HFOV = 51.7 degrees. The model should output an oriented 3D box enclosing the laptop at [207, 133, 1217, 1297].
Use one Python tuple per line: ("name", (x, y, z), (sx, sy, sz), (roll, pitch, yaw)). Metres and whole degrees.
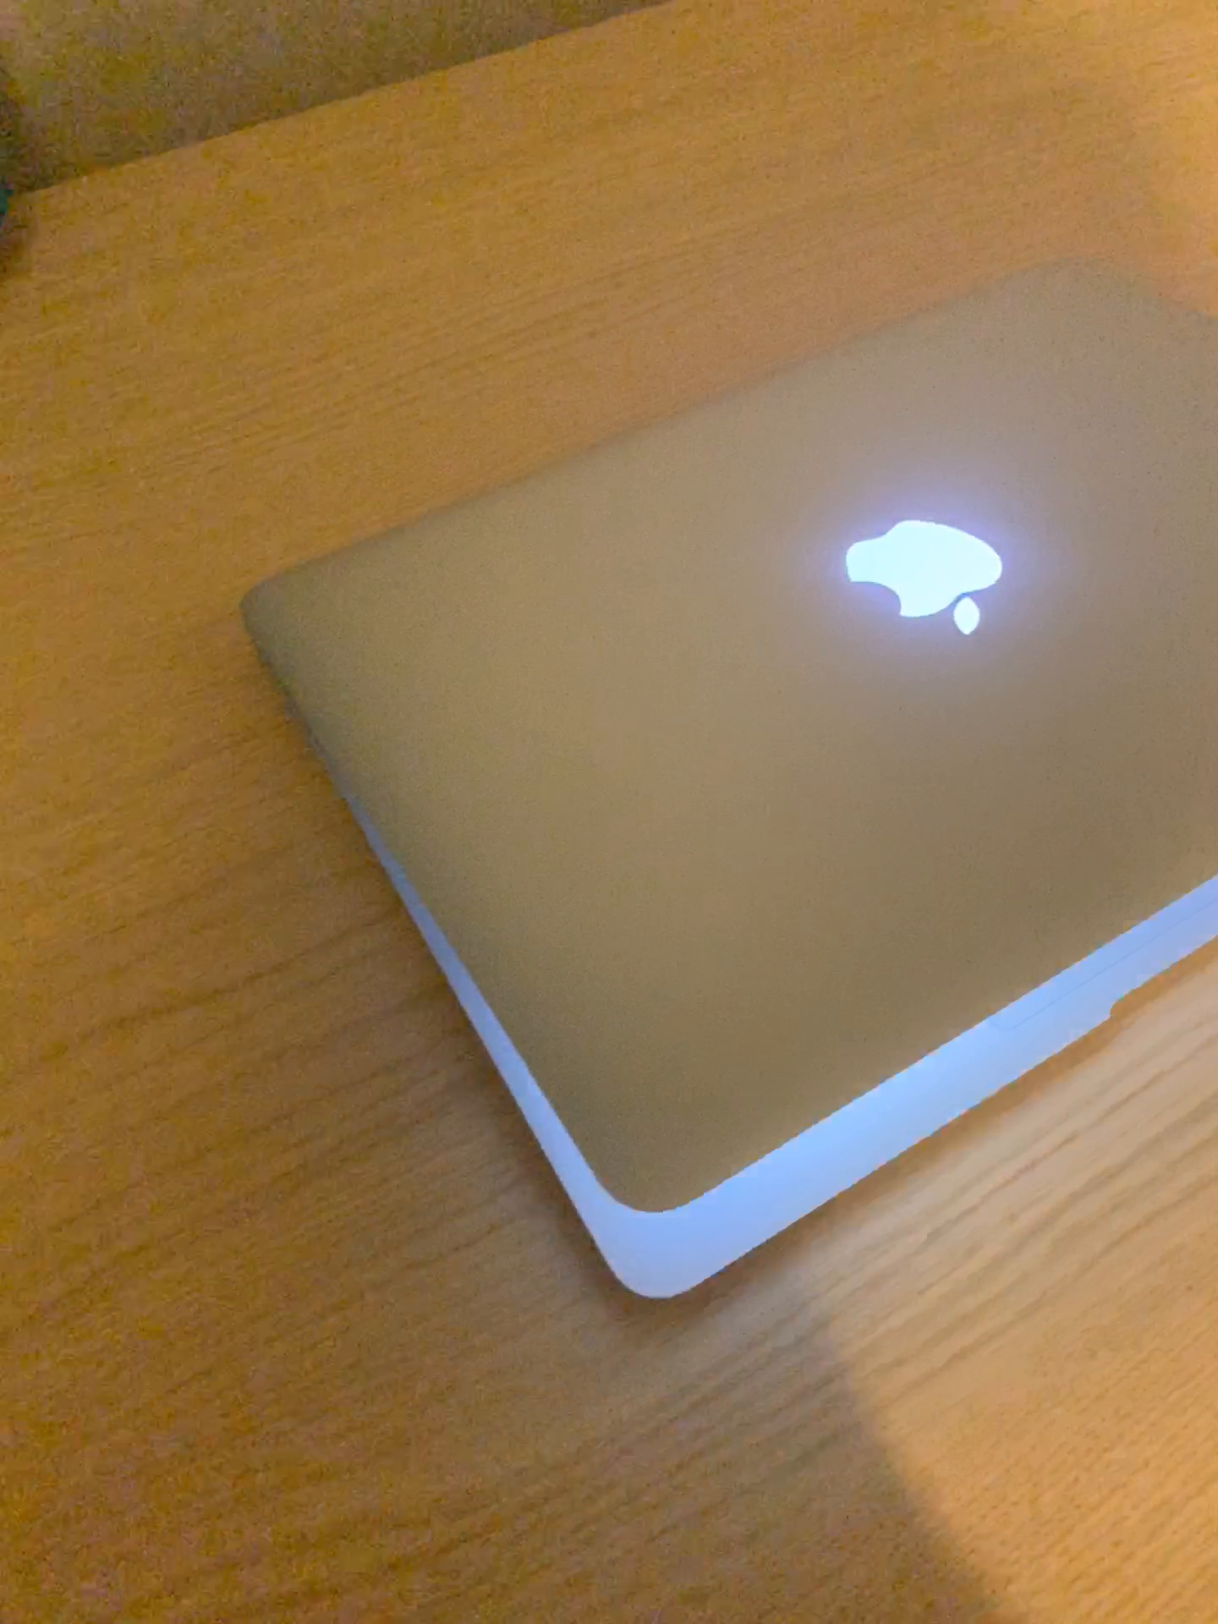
("laptop", (0.087, -0.060, 0.341), (0.320, 0.048, 0.218), (-27, 62, -16))
